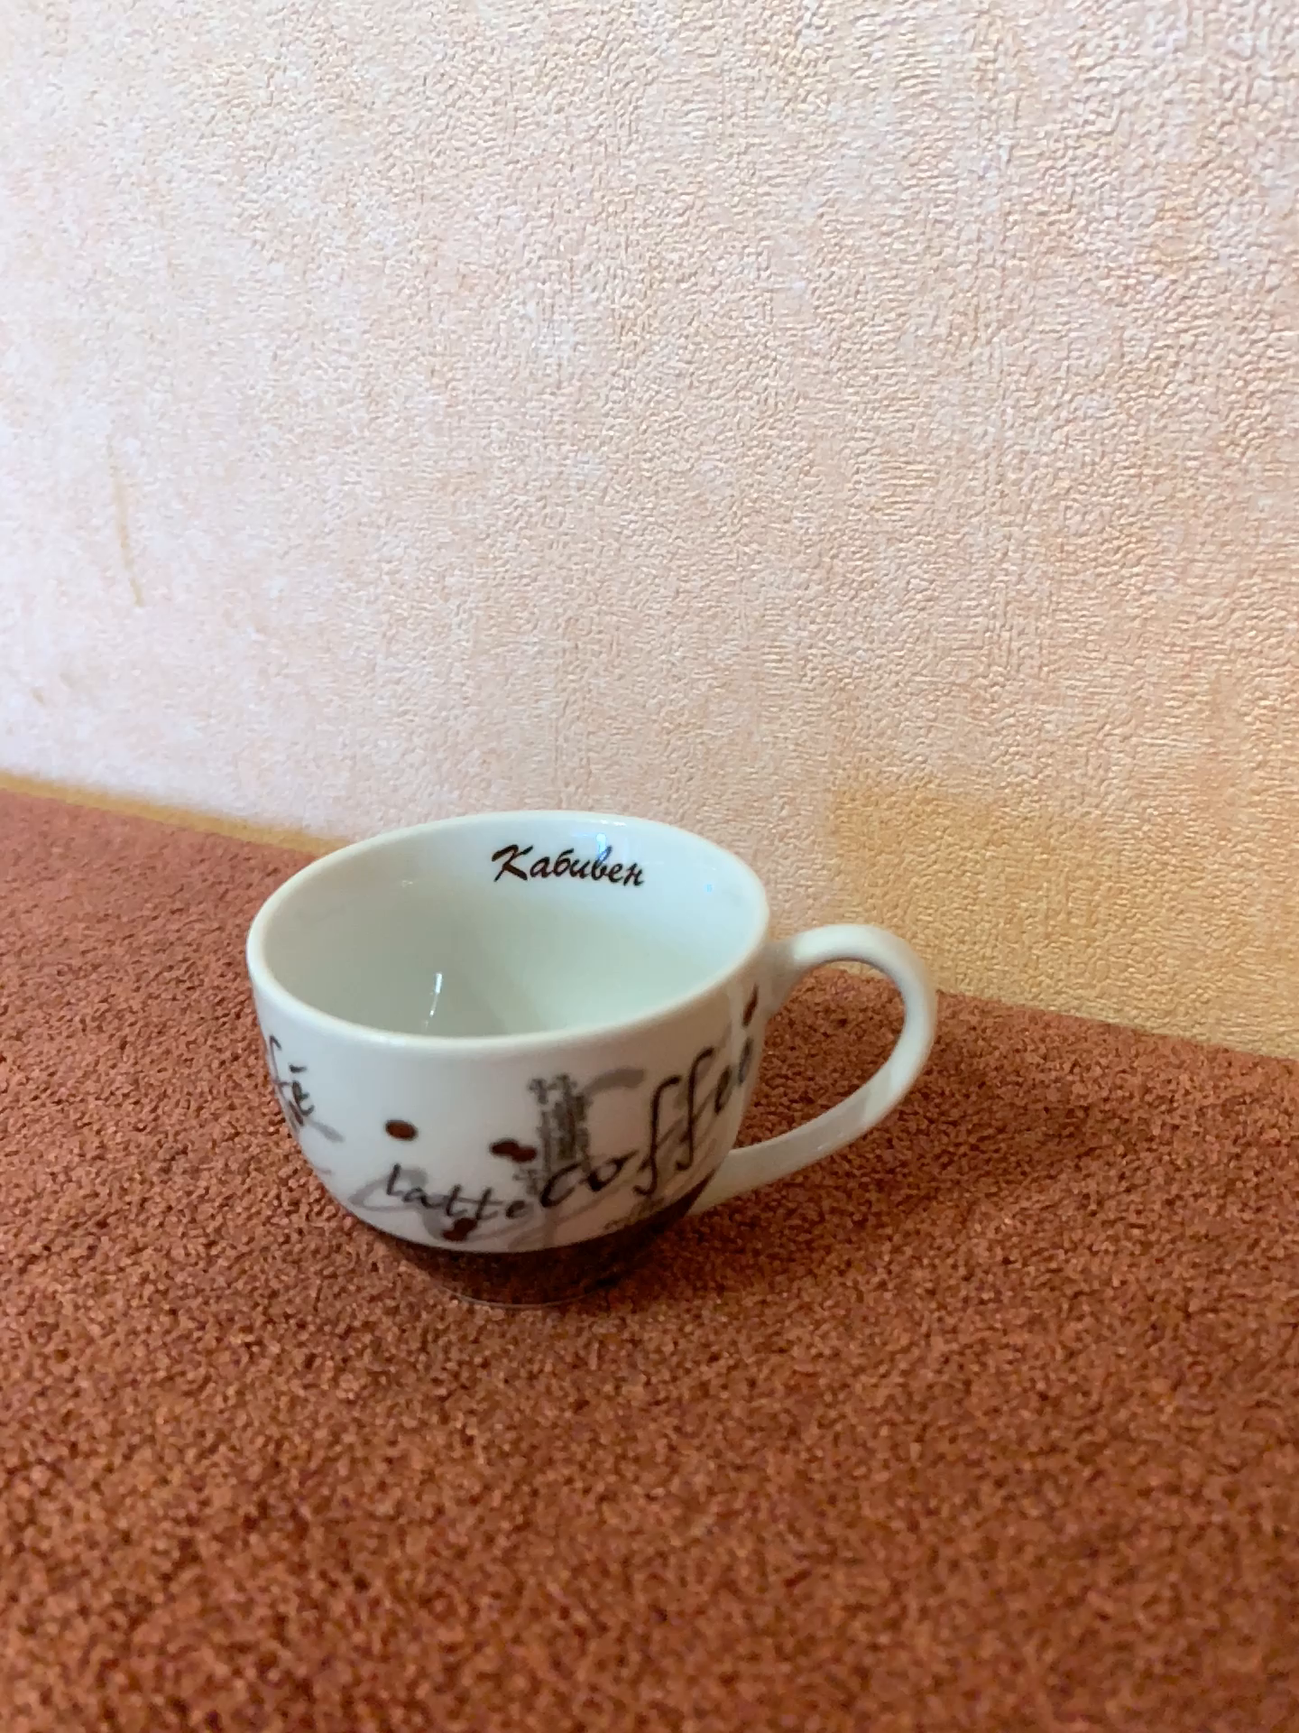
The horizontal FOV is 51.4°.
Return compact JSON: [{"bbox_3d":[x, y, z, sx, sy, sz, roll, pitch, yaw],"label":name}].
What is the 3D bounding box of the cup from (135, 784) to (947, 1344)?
[{"bbox_3d":[-0.008,0.021,0.173,0.083,0.040,0.065,-1,24,6],"label":"cup"}]
